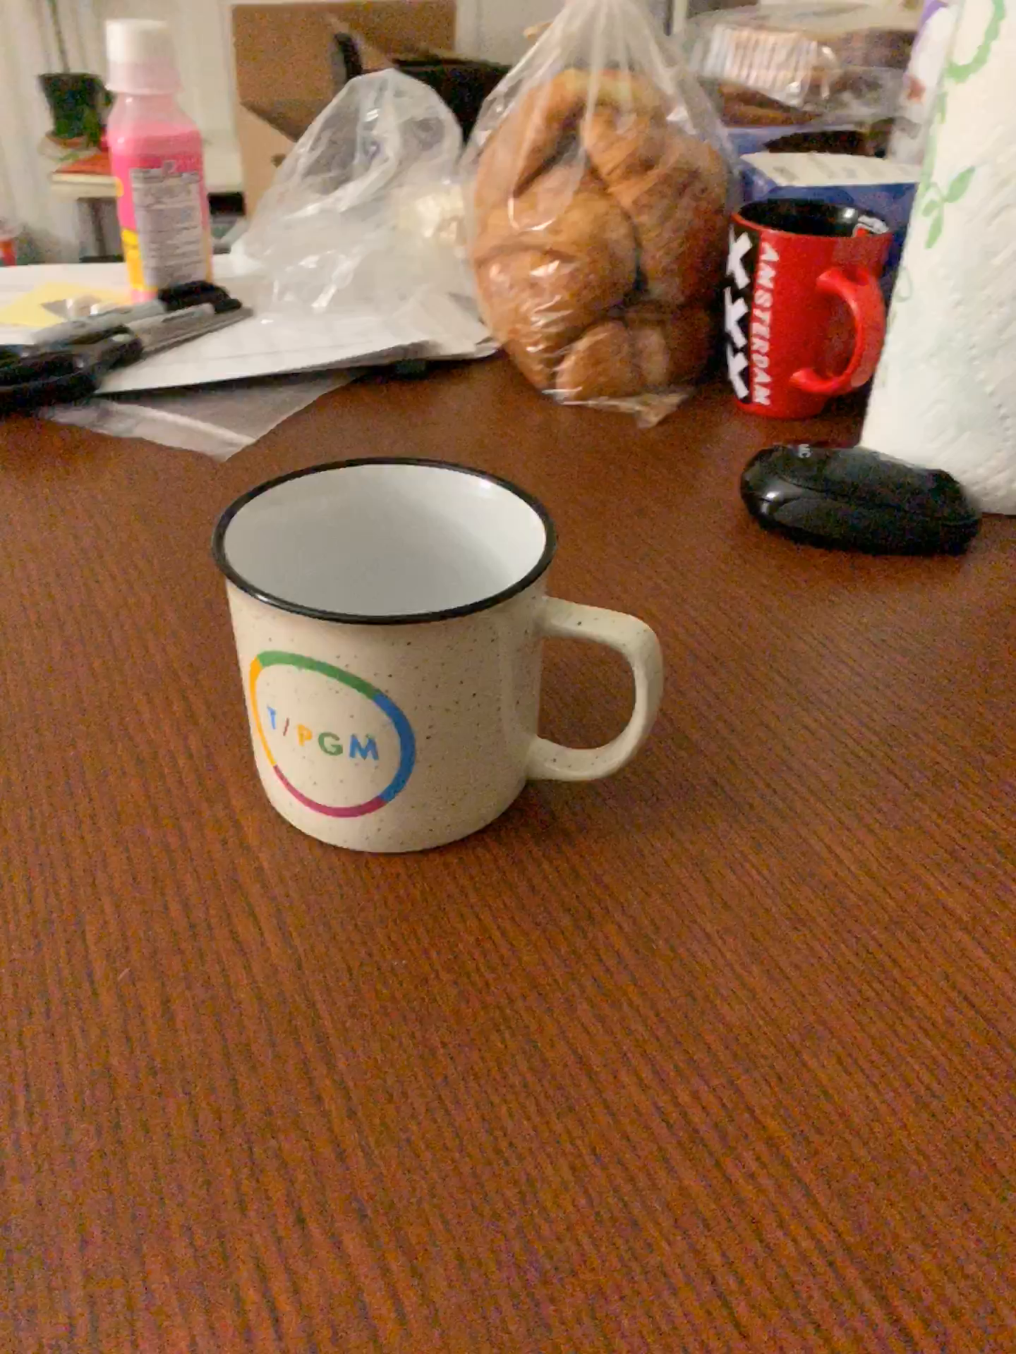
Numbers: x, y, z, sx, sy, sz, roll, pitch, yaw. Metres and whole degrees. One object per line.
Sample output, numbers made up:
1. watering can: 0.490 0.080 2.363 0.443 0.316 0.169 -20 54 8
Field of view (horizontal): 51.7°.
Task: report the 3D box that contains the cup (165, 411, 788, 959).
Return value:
1. cup: -0.005 -0.005 0.326 0.150 0.099 0.100 14 38 16
